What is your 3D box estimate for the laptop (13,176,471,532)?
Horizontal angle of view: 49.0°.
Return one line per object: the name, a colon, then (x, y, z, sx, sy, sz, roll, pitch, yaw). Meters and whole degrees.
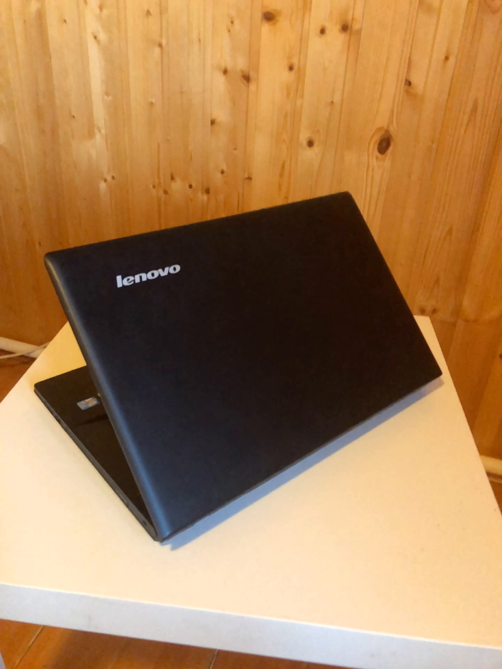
laptop: (-0.005, -0.028, 0.605, 0.390, 0.179, 0.261, -21, 37, -35)
